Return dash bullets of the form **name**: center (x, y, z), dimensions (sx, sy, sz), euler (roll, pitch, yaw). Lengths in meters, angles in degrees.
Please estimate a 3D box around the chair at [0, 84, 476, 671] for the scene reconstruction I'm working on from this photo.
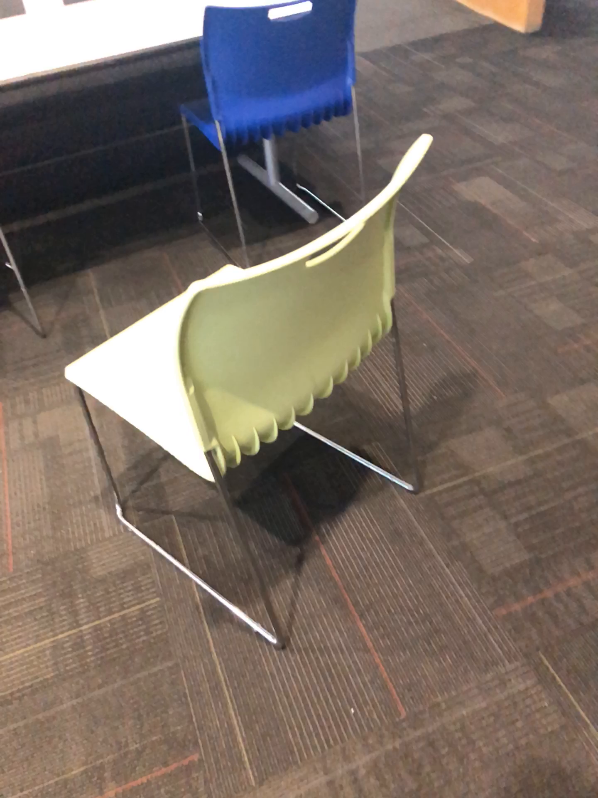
- **chair**: center (-0.095, -0.055, 1.200), dimensions (0.542, 0.756, 0.541), euler (27, 51, 32)
